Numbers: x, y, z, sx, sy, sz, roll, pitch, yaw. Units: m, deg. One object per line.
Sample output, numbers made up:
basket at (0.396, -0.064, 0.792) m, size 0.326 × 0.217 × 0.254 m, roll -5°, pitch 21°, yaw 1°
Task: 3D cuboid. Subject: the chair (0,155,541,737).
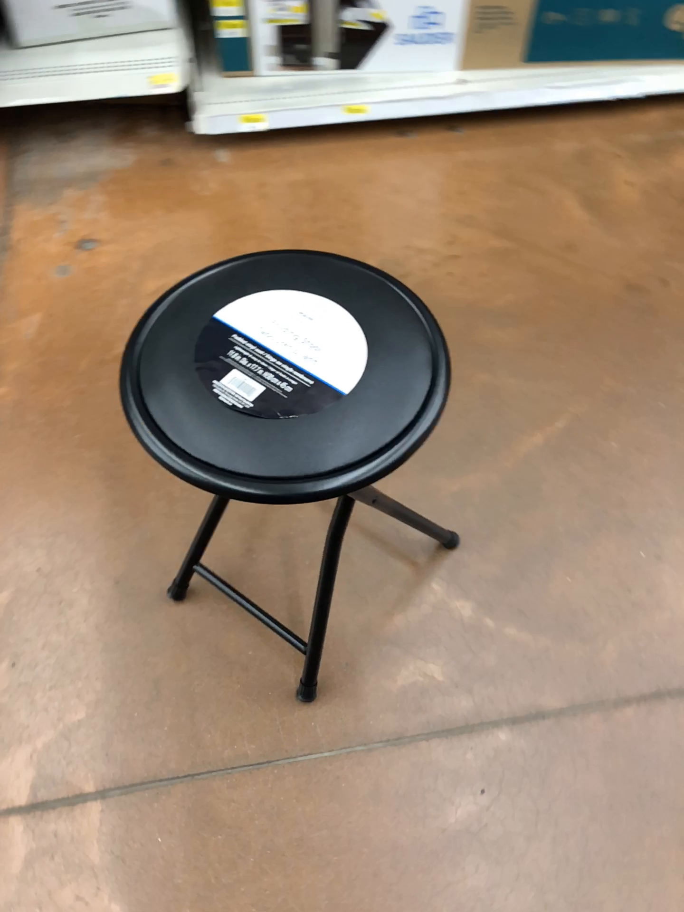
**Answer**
chair at (-0.059, 0.002, 0.783) m, size 0.320 × 0.399 × 0.330 m, roll 31°, pitch 60°, yaw 19°
